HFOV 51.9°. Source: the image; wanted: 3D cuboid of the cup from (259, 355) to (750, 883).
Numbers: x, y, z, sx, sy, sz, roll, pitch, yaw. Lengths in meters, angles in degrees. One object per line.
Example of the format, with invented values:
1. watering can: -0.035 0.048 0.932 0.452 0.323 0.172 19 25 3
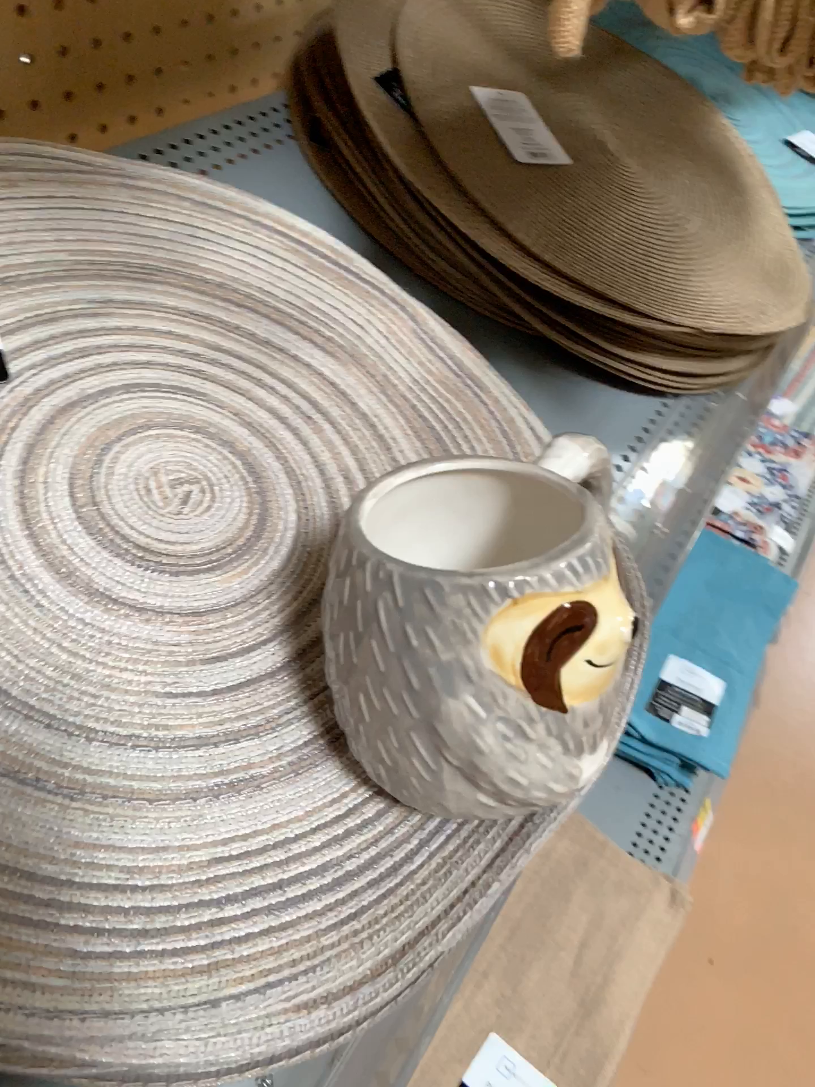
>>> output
1. cup: 0.042 0.011 0.297 0.106 0.089 0.151 17 40 25
